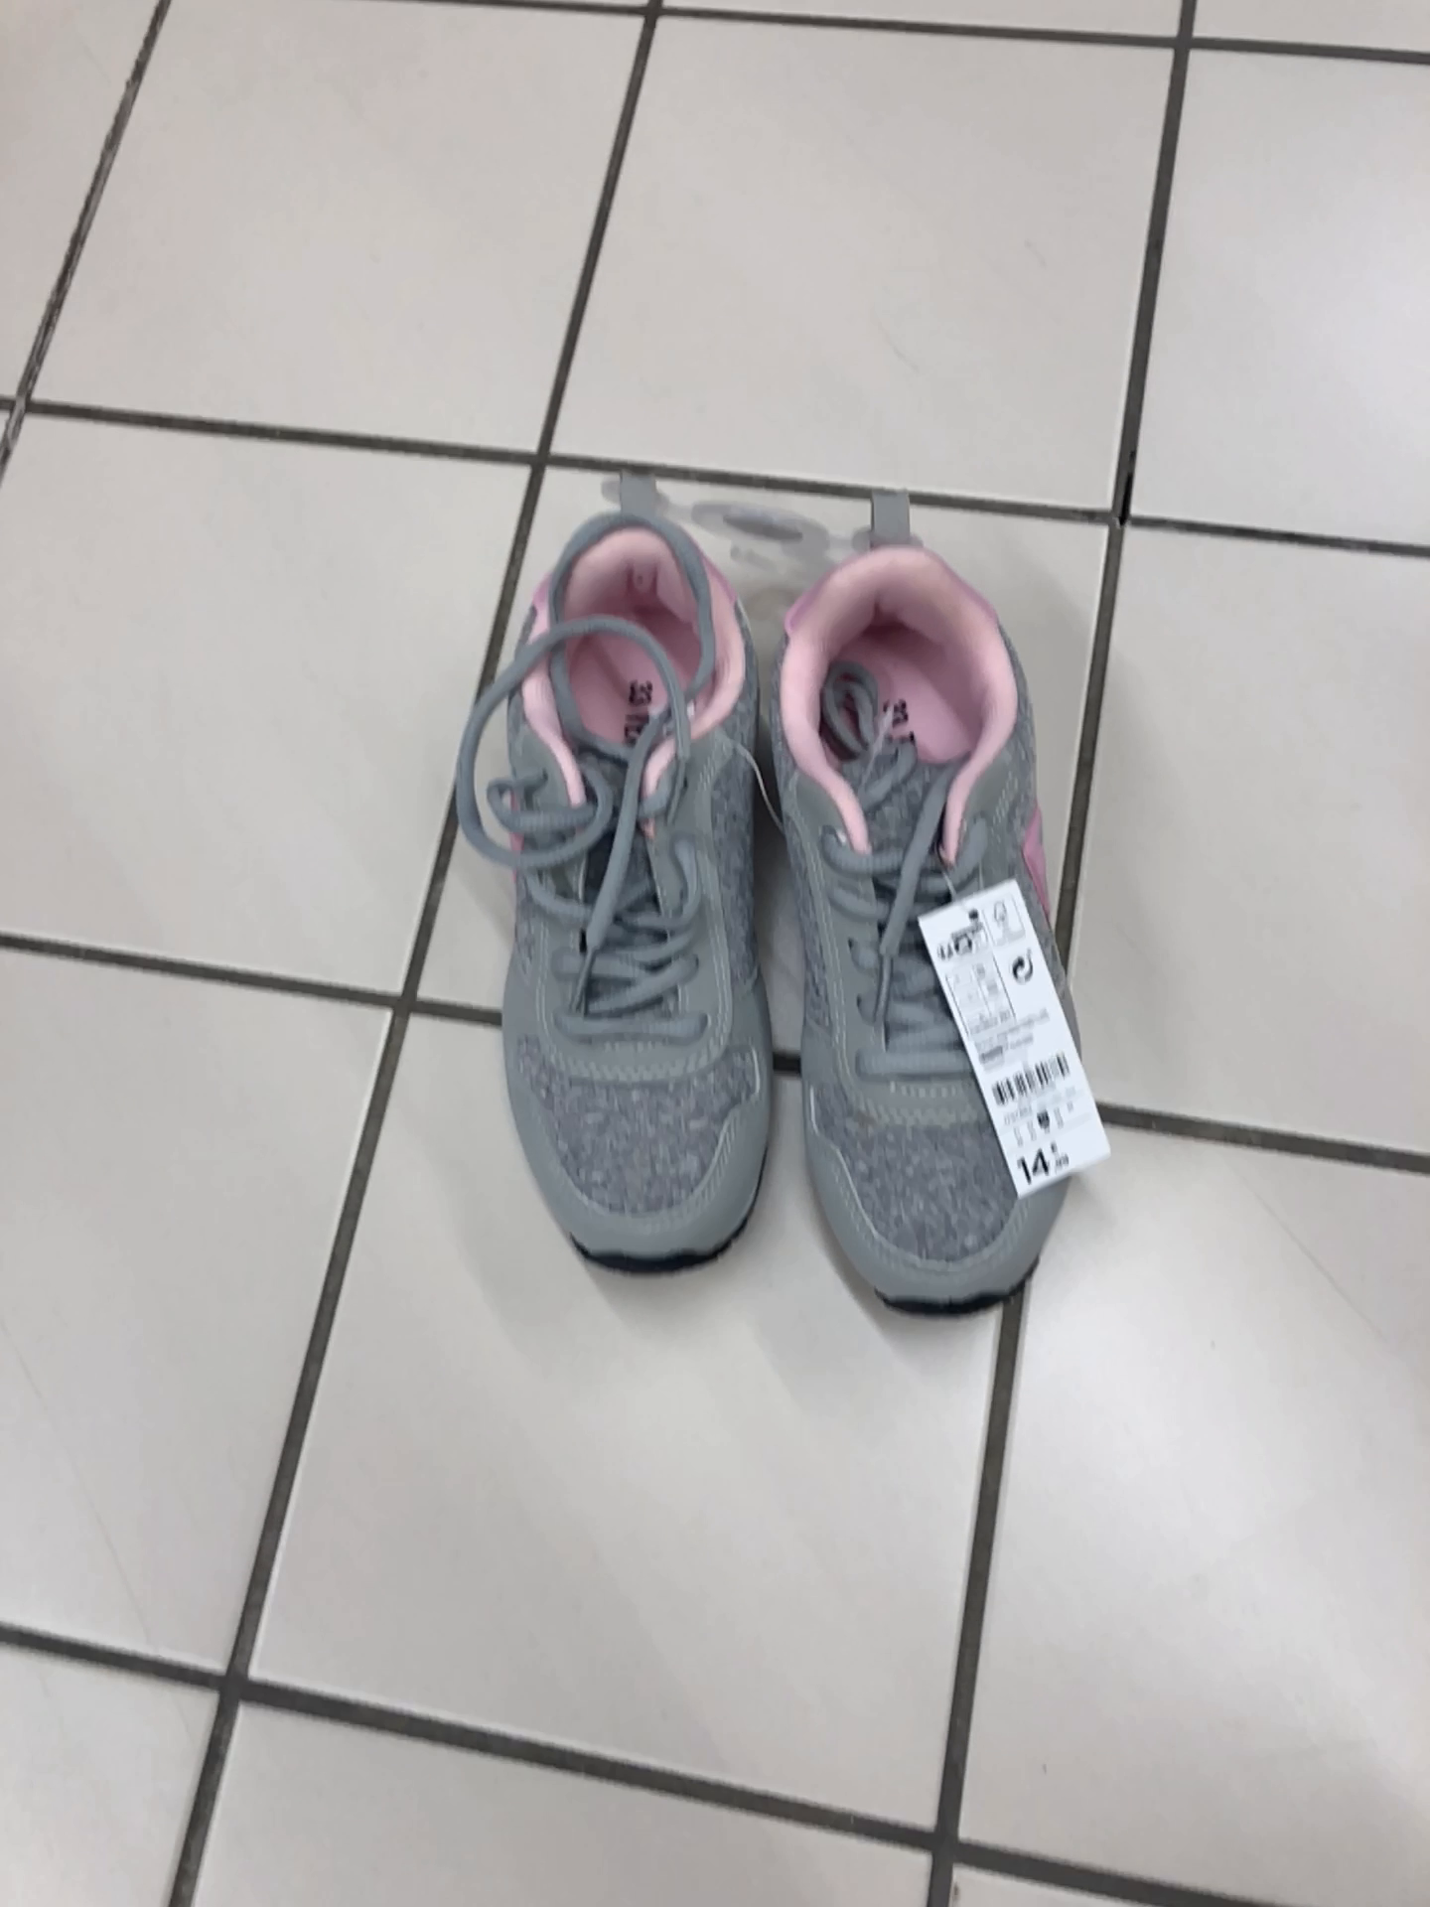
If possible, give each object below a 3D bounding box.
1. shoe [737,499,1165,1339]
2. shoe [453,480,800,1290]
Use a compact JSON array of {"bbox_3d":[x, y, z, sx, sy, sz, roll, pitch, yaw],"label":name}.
[{"bbox_3d":[0.060,-0.007,0.444,0.082,0.084,0.214,-6,72,4],"label":"shoe"},{"bbox_3d":[-0.024,-0.017,0.455,0.082,0.084,0.214,-4,72,5],"label":"shoe"}]
